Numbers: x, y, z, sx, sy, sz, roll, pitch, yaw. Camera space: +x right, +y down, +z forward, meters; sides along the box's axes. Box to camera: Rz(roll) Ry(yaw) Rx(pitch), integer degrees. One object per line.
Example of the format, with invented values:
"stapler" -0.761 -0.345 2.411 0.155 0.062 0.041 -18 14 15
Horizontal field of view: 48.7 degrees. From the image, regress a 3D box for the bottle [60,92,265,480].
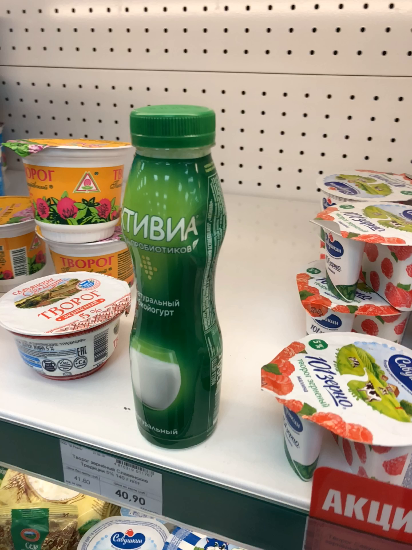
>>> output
"bottle" -0.019 0.007 0.246 0.070 0.189 0.060 16 30 30
